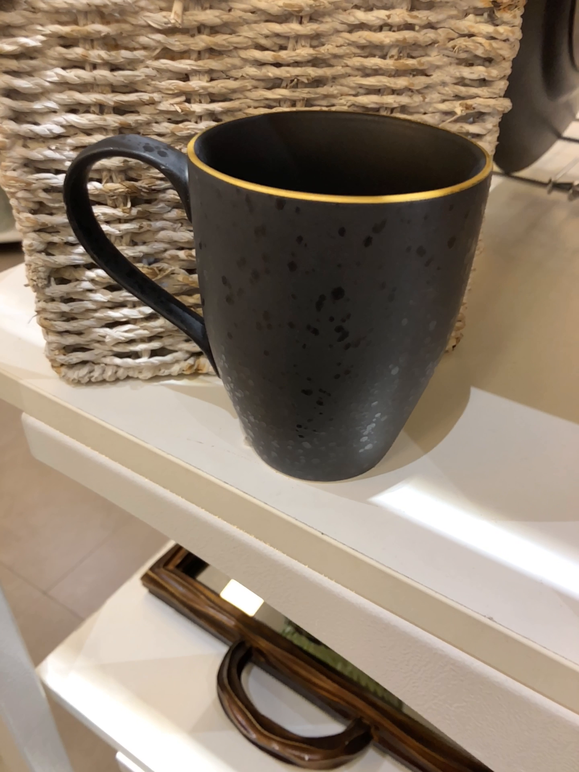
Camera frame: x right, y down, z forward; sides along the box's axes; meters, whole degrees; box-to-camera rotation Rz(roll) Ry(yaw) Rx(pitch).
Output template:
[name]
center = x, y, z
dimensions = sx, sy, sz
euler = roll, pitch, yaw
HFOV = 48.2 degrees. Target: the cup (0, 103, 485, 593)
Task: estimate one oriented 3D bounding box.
[cup]
center = -0.017, -0.020, 0.199
dimensions = 0.120, 0.099, 0.080
euler = 15, 39, 21
